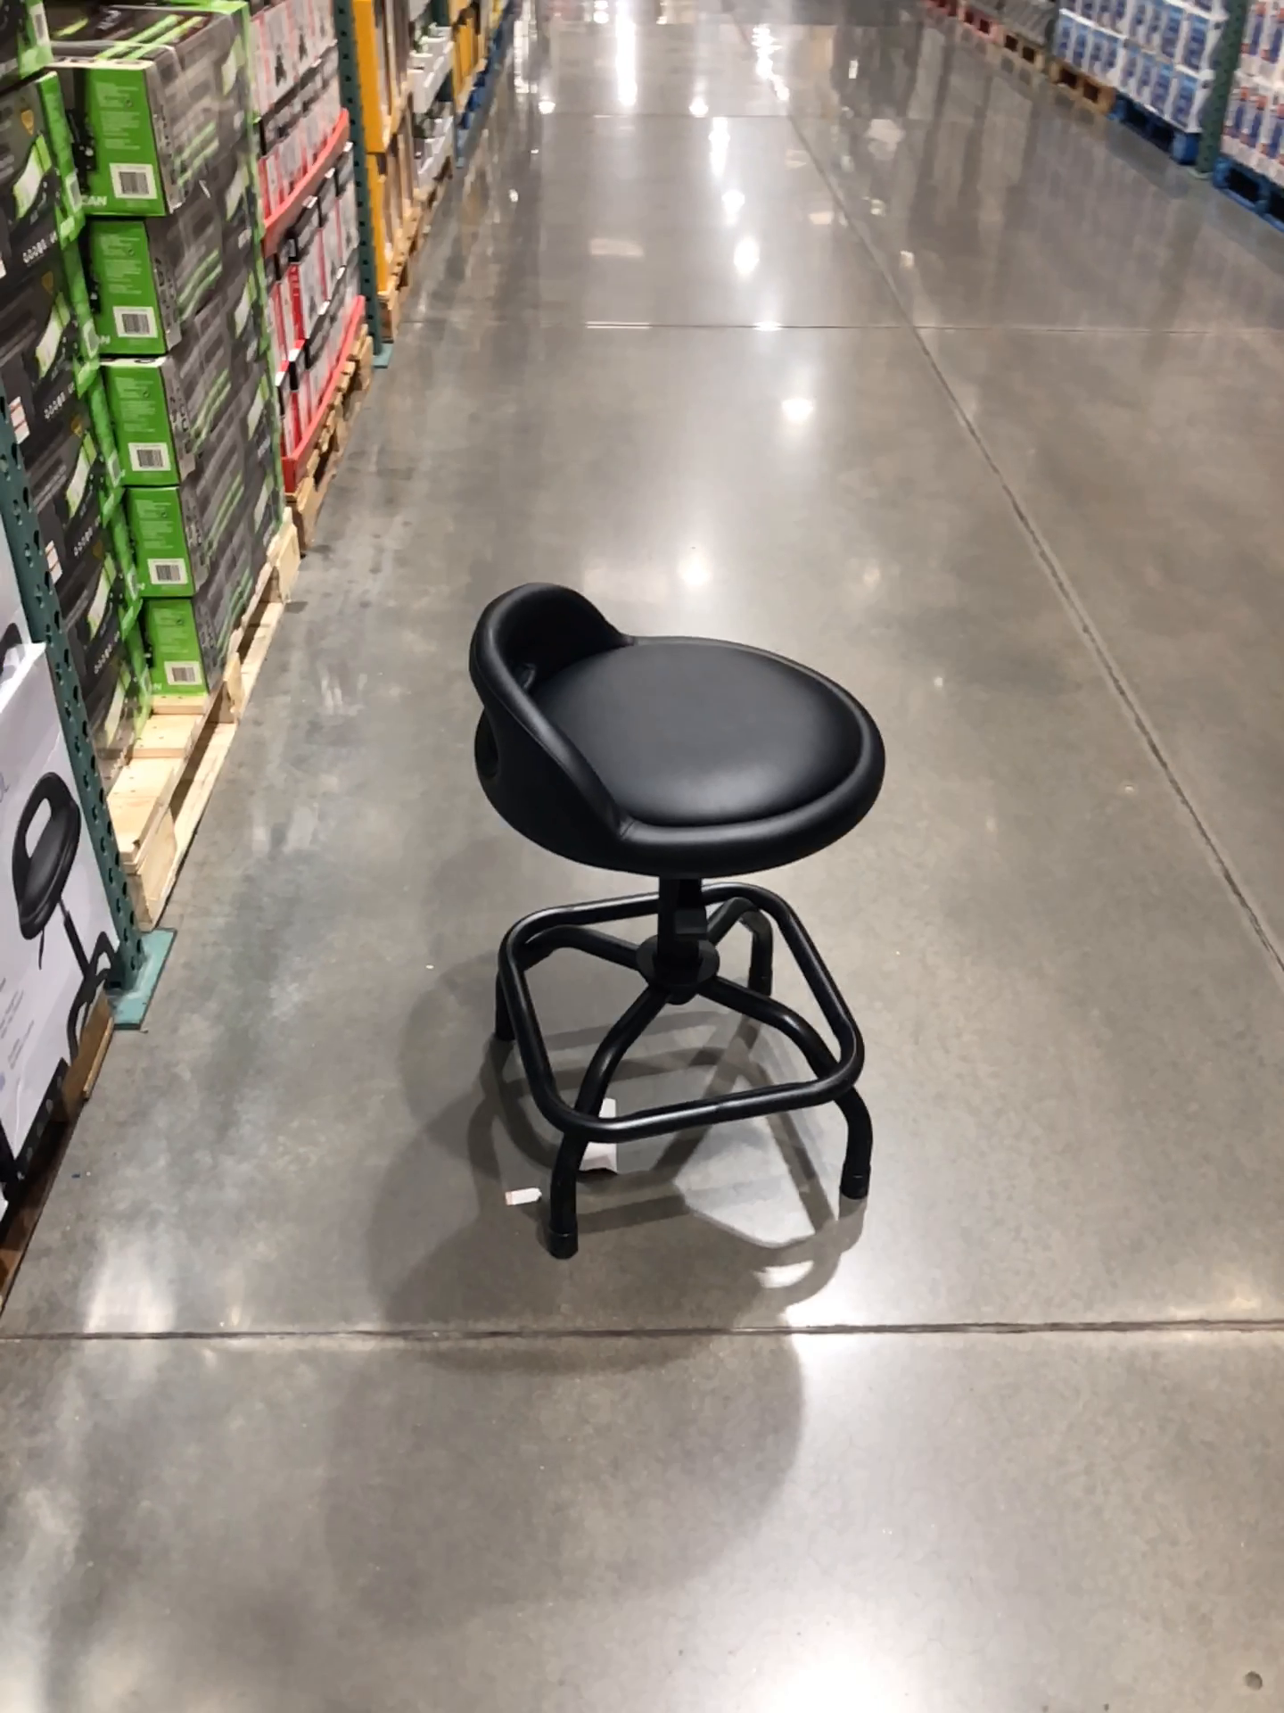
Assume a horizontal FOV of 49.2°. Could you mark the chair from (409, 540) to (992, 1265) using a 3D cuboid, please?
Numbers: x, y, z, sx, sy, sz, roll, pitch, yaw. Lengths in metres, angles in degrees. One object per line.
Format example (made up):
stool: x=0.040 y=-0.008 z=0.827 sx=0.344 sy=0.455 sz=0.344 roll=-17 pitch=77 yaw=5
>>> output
chair: x=0.046 y=0.047 z=1.601 sx=0.501 sy=0.627 sz=0.522 roll=1 pitch=36 yaw=0
